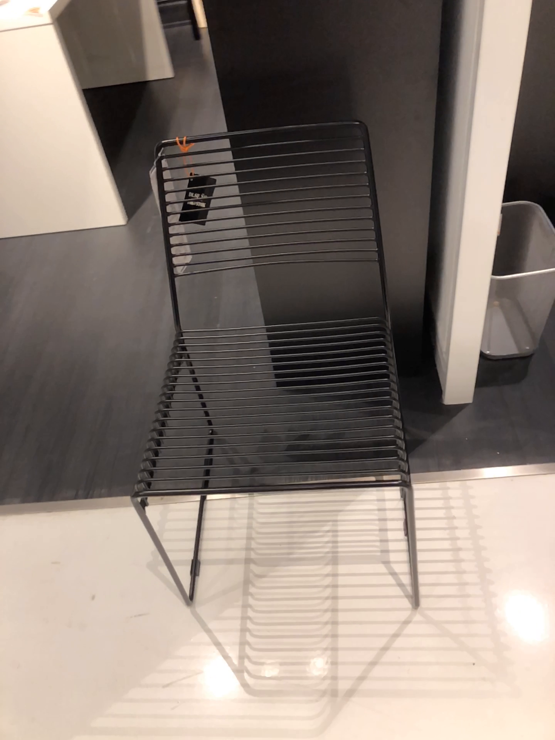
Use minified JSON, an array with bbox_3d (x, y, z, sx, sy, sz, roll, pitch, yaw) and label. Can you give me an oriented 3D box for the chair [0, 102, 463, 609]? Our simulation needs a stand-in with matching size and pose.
[{"bbox_3d":[-0.002,0.030,1.114,0.520,0.765,0.503,-4,46,7],"label":"chair"}]
